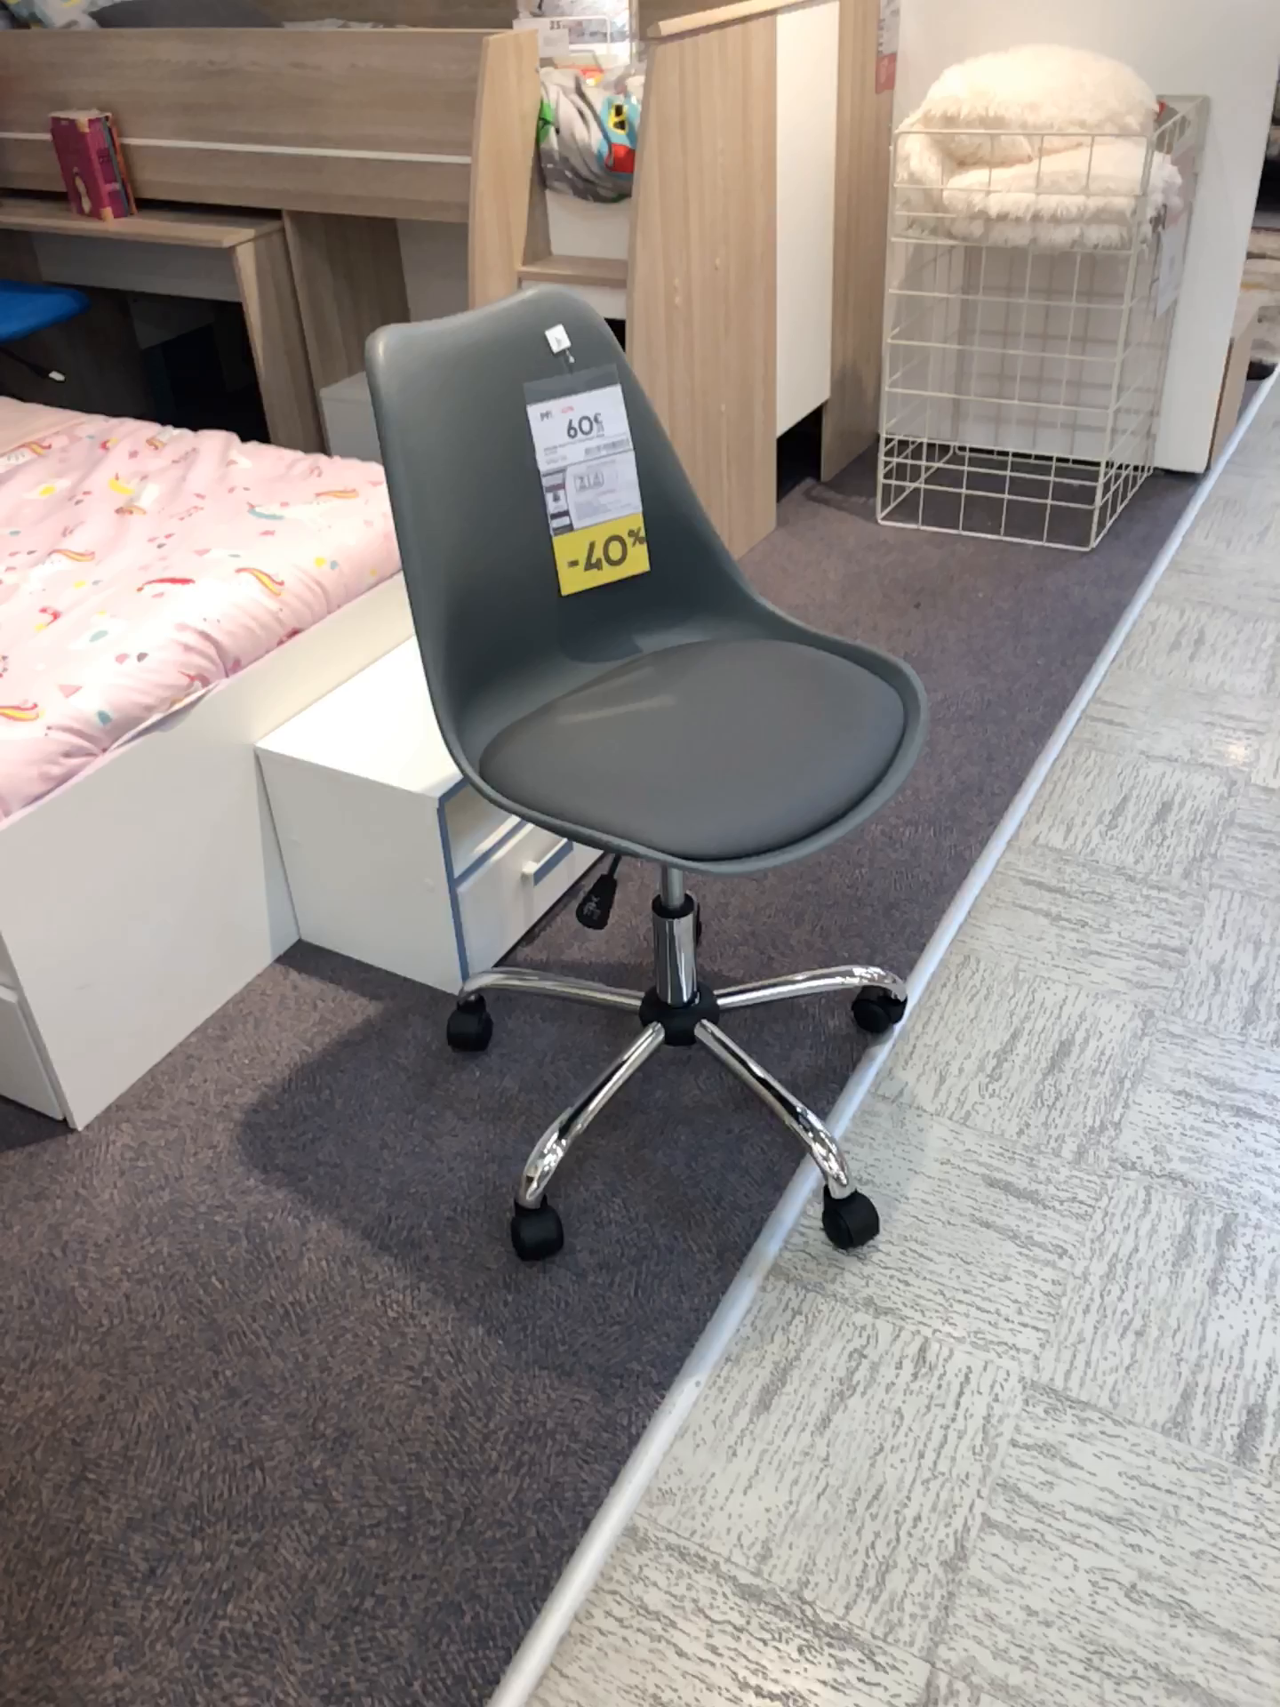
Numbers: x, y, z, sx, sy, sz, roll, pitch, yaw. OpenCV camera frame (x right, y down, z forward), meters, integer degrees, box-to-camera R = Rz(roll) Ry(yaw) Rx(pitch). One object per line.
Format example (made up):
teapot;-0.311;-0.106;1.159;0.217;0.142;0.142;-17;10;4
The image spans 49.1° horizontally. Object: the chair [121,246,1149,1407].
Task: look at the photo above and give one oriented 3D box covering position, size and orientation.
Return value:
chair;0.018;-0.077;1.420;0.630;0.835;0.604;25;44;34
